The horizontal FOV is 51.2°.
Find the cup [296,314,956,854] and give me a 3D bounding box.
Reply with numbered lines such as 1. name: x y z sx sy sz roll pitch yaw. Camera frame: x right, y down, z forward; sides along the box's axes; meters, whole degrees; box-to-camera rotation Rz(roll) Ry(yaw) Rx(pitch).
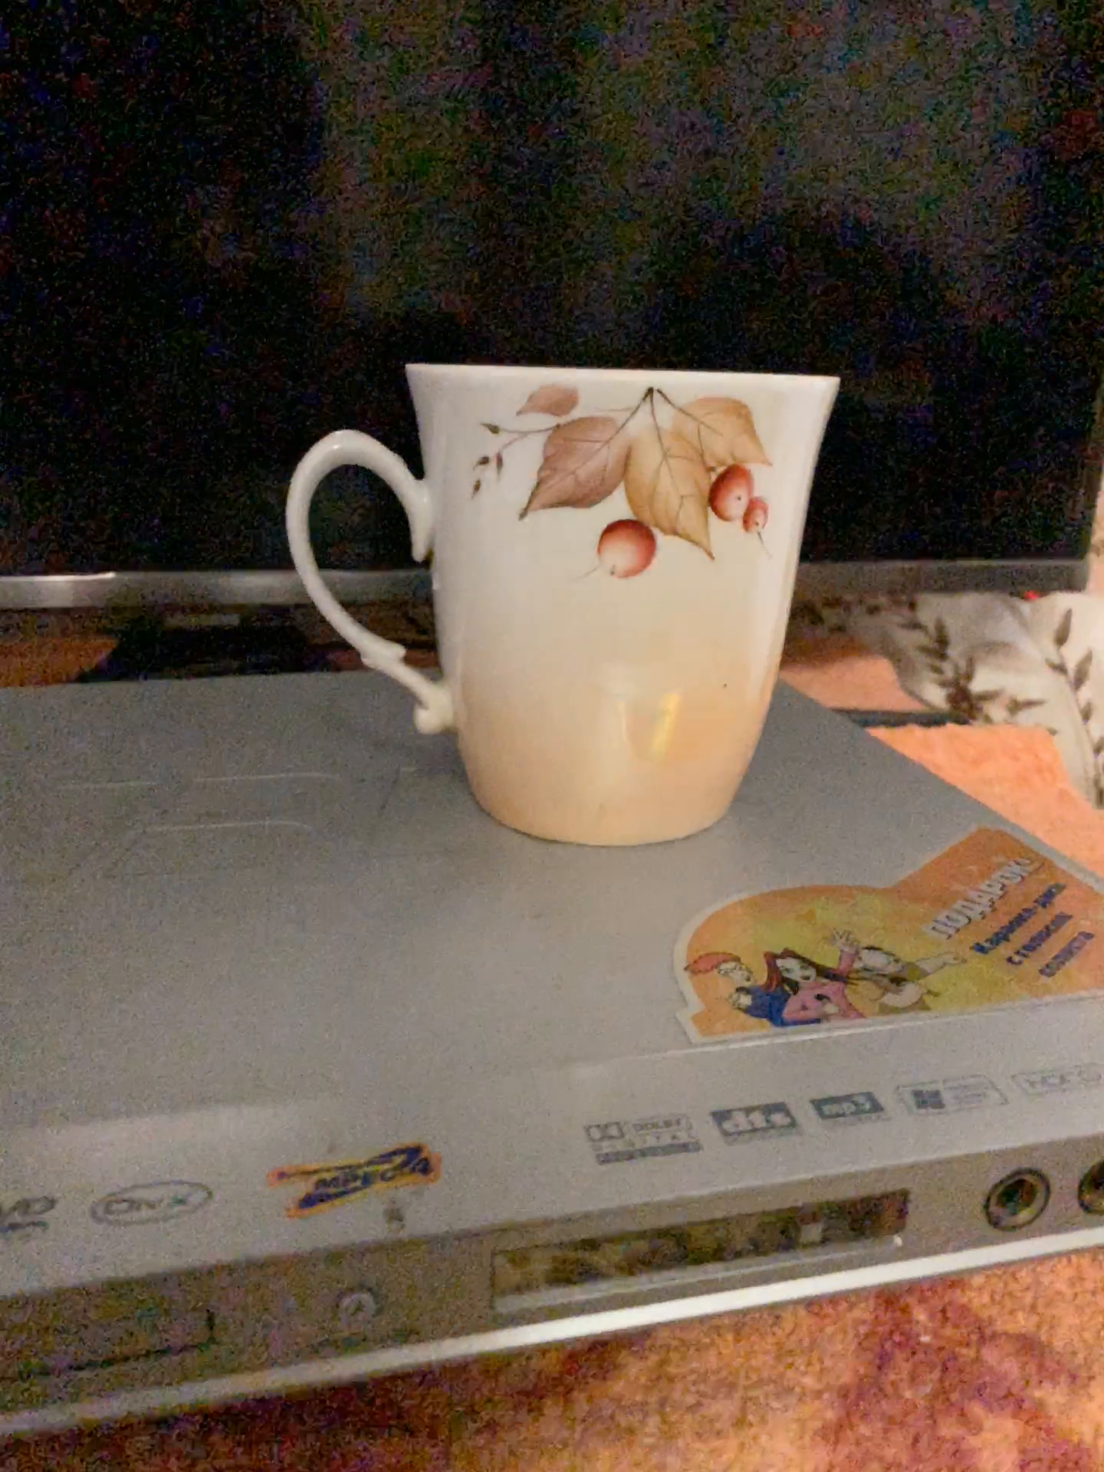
1. cup: 0.004 -0.039 0.255 0.113 0.091 0.101 -1 17 -15
